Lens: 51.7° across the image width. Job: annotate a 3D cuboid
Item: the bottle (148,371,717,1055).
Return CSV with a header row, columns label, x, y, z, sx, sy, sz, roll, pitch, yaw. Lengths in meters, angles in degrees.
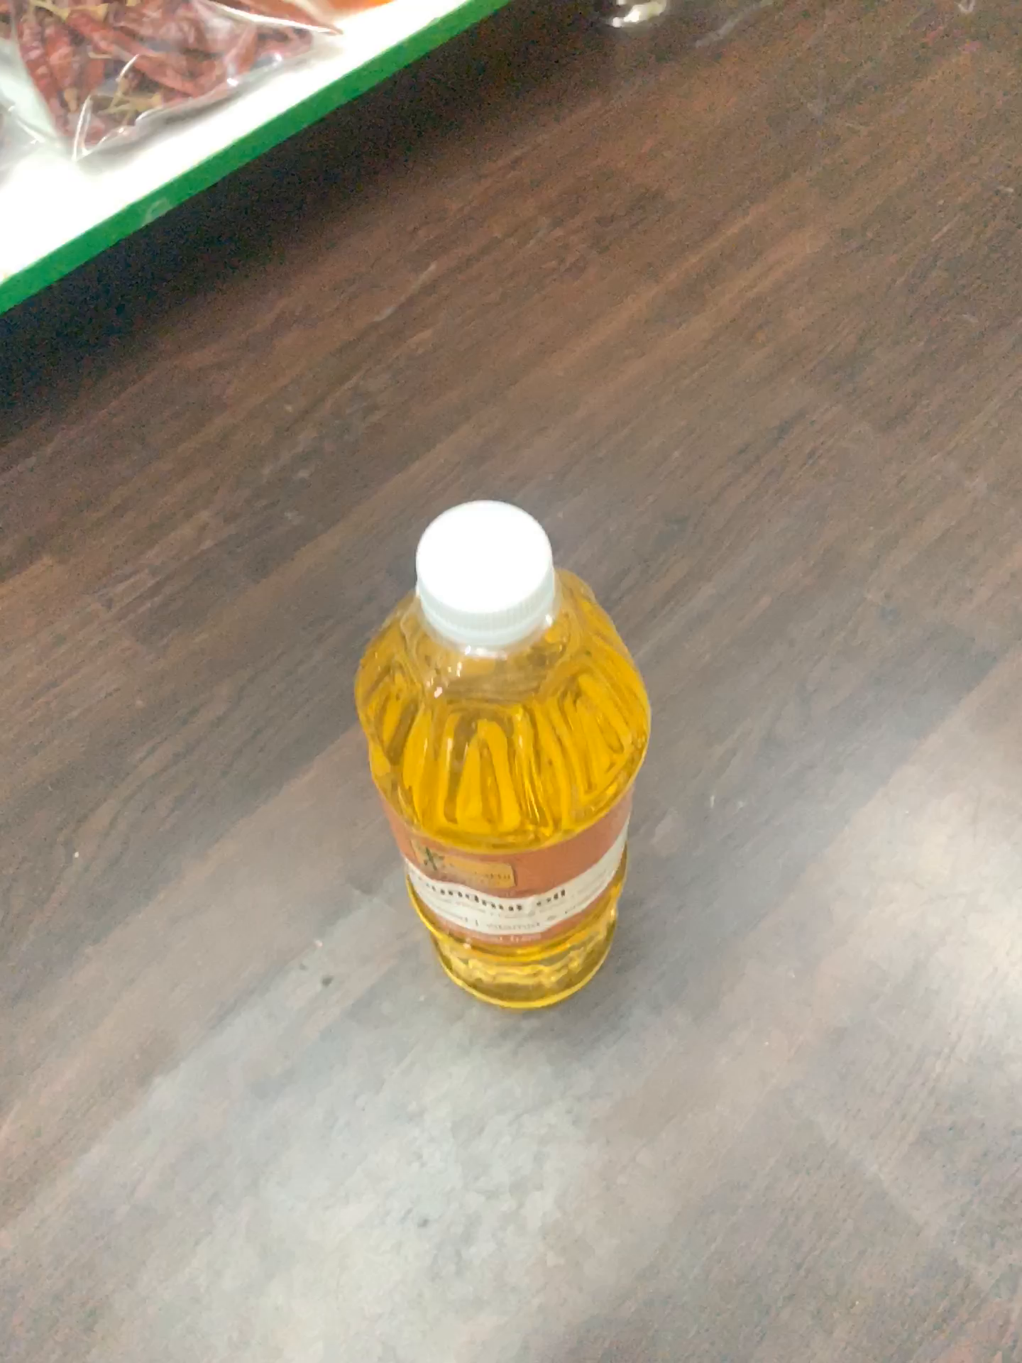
label,x,y,z,sx,sy,sz,roll,pitch,yaw
bottle,-0.008,0.038,0.319,0.090,0.259,0.070,20,64,13
